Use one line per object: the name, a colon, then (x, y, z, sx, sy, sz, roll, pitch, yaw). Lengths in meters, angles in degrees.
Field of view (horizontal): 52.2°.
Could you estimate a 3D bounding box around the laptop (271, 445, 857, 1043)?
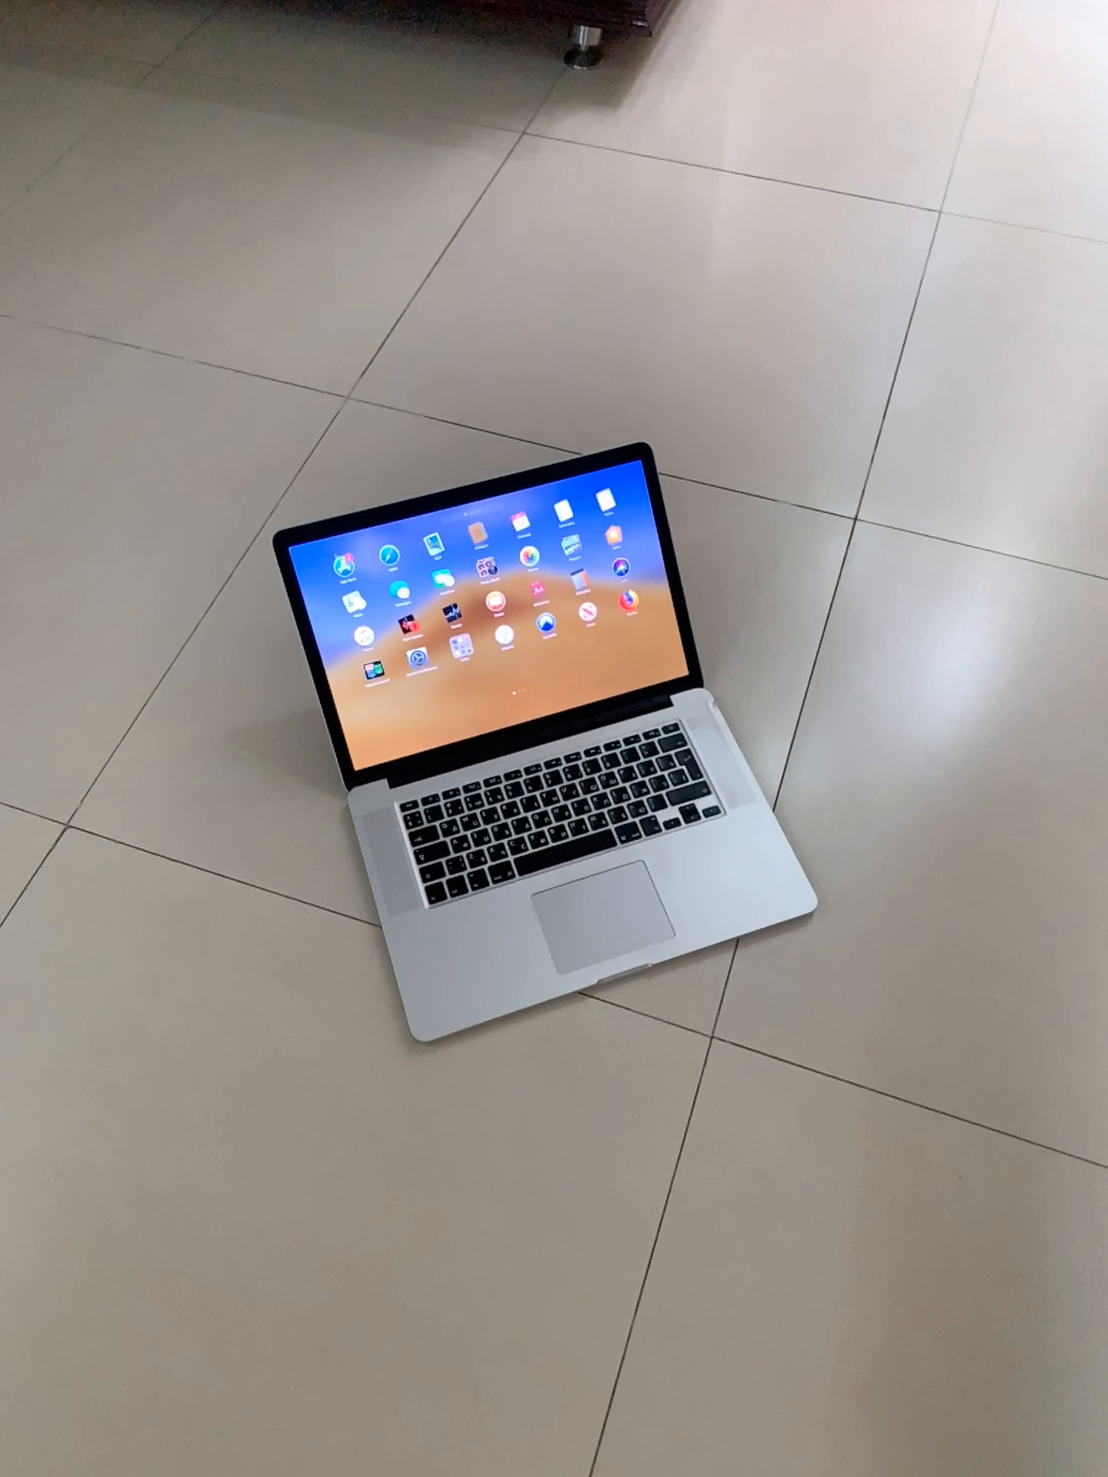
laptop: (-0.011, -0.016, 0.975, 0.352, 0.162, 0.416, -16, 58, -11)
